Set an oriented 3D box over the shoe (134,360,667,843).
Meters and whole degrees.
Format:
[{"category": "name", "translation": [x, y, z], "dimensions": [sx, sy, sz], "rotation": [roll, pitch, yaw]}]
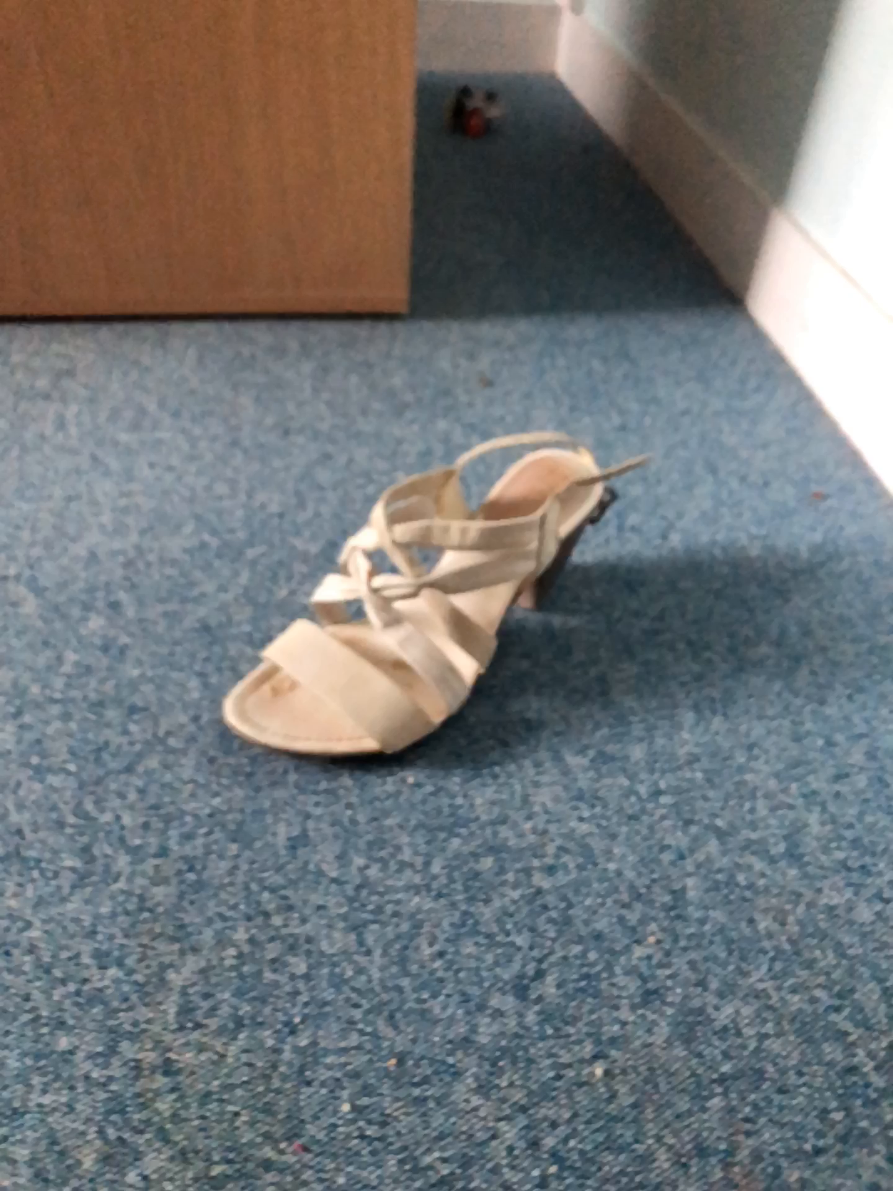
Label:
[{"category": "shoe", "translation": [-0.013, -0.011, 0.492], "dimensions": [0.100, 0.109, 0.241], "rotation": [35, 49, 30]}]
